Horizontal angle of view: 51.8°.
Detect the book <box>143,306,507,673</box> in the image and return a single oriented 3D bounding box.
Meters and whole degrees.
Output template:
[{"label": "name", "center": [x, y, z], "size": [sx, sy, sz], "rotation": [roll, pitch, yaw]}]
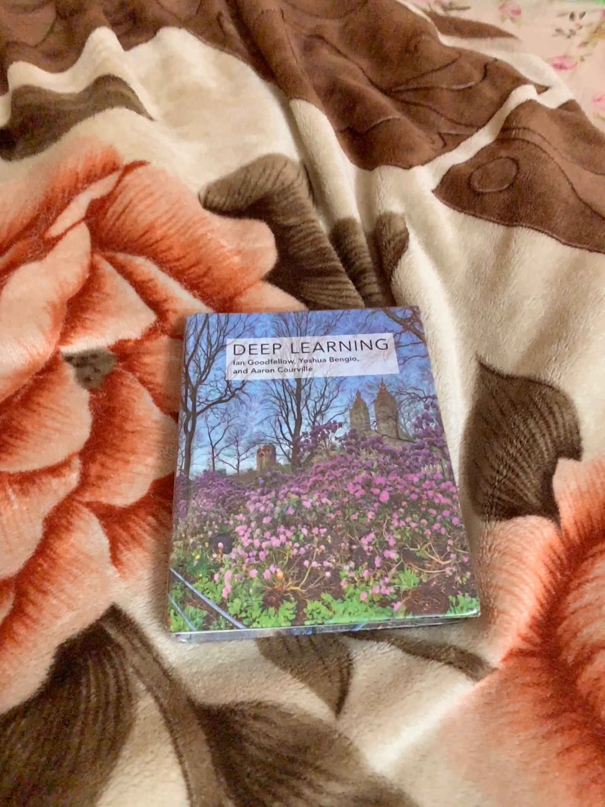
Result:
[{"label": "book", "center": [0.007, 0.042, 0.441], "size": [0.210, 0.030, 0.262], "rotation": [-1, 57, -4]}]
